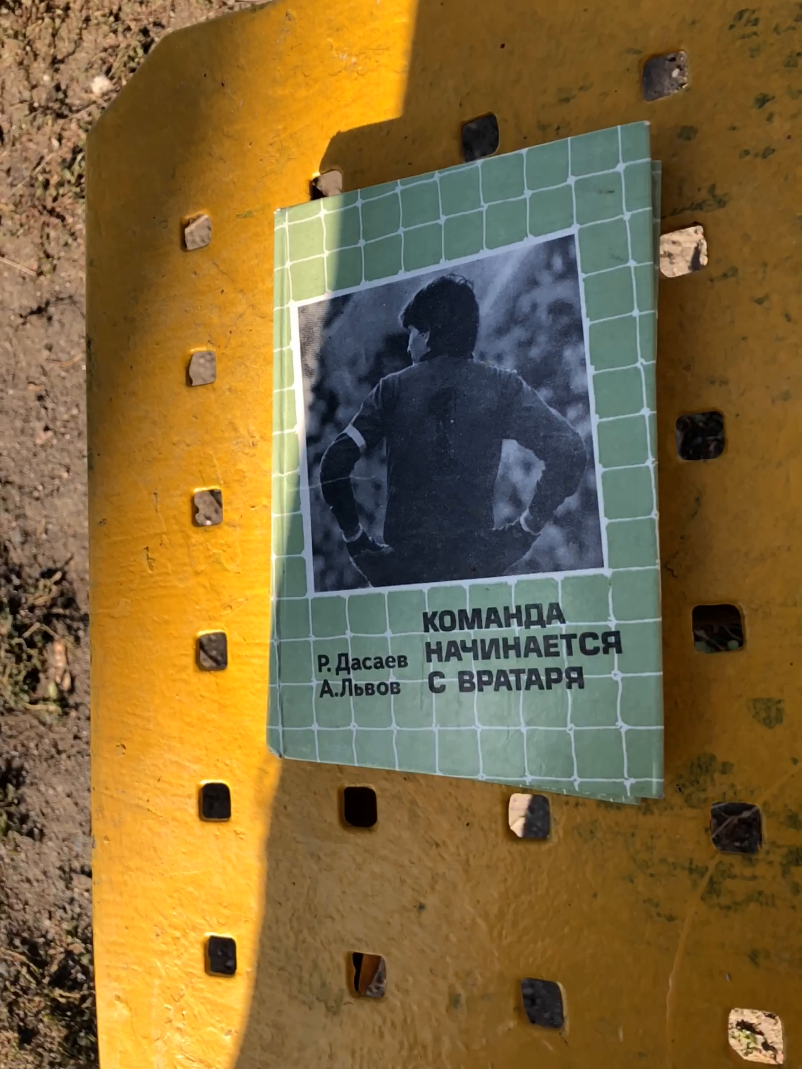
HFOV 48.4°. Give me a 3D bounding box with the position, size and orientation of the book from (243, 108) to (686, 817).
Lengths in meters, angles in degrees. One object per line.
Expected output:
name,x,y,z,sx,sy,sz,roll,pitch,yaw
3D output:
book,0.014,-0.016,0.246,0.117,0.030,0.164,-2,85,29
